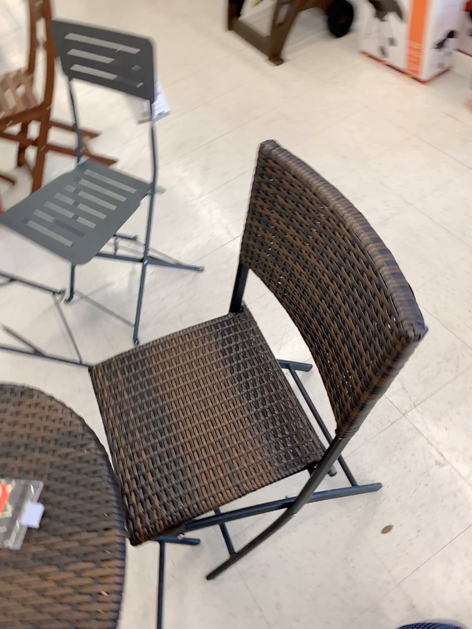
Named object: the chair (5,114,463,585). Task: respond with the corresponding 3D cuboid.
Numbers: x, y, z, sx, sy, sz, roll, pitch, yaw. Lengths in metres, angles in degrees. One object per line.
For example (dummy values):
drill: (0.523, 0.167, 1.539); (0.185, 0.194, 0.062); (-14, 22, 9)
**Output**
chair: (0.002, 0.141, 0.985); (0.510, 0.767, 0.482); (-23, 54, -6)
